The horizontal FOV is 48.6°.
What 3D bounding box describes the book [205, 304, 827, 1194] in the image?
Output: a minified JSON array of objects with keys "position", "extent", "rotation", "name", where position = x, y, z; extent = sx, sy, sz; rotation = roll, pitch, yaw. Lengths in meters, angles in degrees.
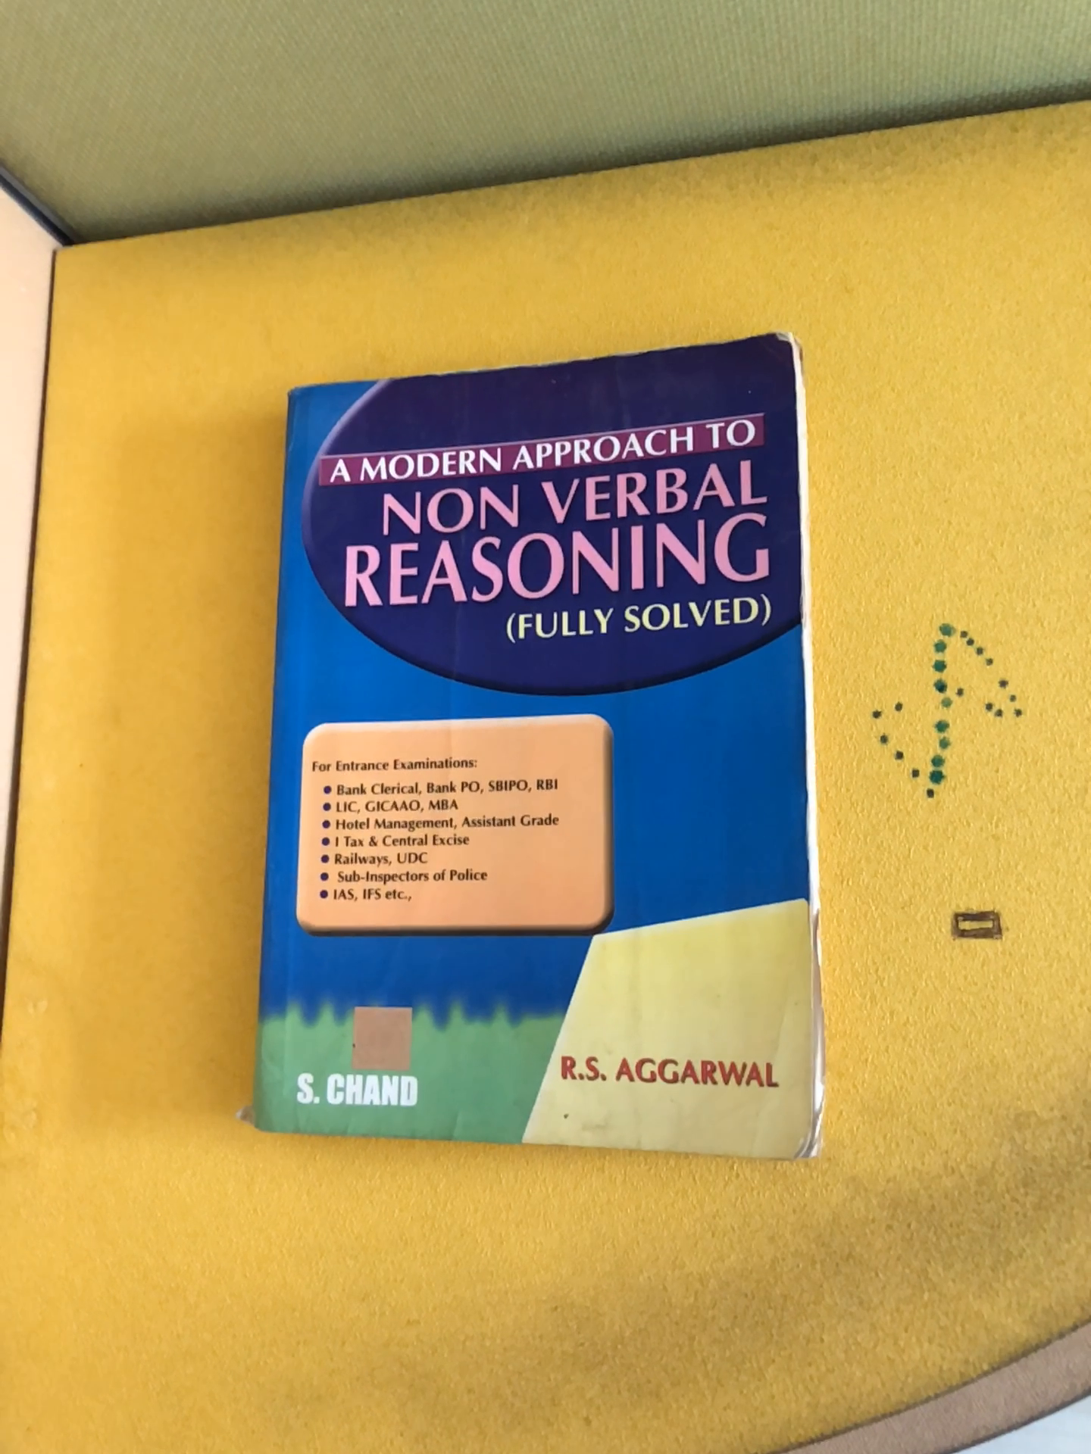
[{"position":[-0.008,0.004,0.361],"extent":[0.170,0.040,0.240],"rotation":[-2,79,14],"name":"book"}]
